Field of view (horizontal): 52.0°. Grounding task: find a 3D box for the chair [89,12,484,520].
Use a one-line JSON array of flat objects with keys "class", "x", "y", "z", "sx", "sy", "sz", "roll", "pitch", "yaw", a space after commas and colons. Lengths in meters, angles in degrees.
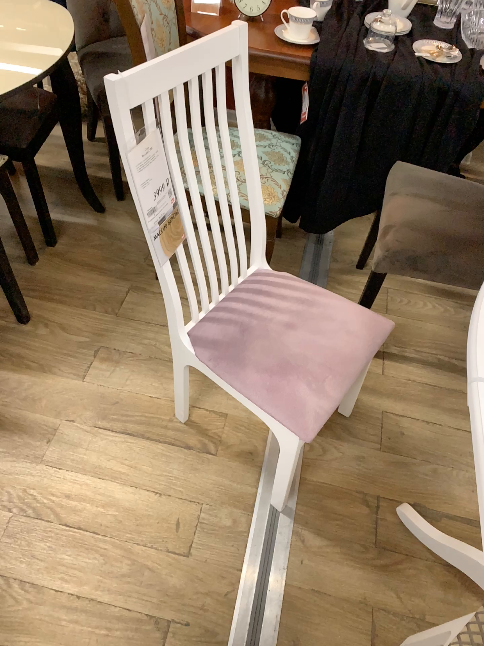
[{"class": "chair", "x": 0.072, "y": -0.048, "z": 1.172, "sx": 0.520, "sy": 1.003, "sz": 0.442, "roll": 31, "pitch": 54, "yaw": 20}]
